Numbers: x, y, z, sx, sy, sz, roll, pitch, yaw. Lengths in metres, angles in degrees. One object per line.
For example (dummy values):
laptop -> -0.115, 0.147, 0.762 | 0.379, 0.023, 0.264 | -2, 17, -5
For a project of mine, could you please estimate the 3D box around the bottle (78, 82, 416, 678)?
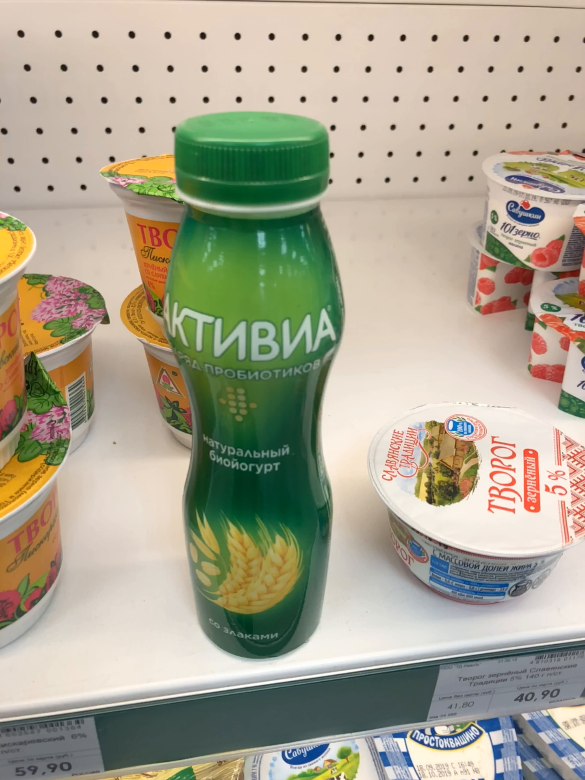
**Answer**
bottle -> -0.009, 0.008, 0.209 | 0.070, 0.183, 0.060 | 5, 34, 5
